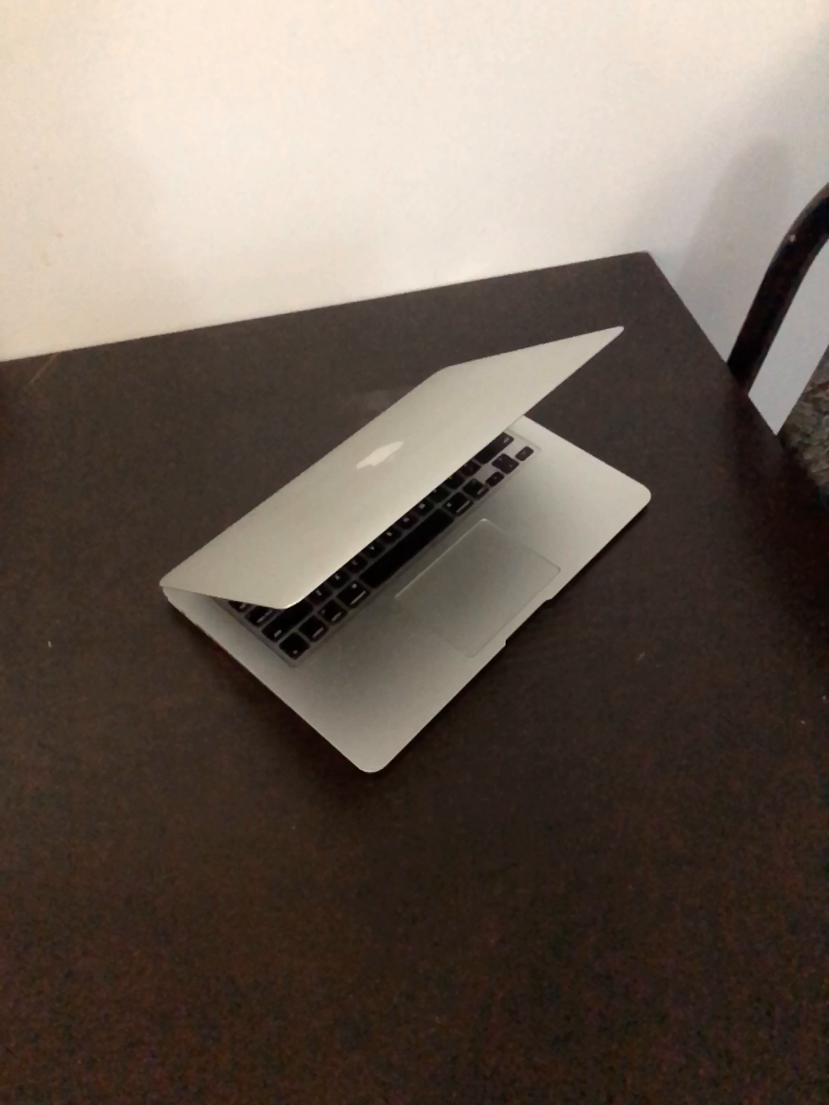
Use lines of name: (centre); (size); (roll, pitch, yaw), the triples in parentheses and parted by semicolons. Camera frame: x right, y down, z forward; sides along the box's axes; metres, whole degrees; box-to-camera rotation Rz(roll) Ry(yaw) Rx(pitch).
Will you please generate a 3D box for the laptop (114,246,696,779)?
laptop: (0.004, -0.052, 0.659); (0.226, 0.131, 0.331); (34, 59, 27)
